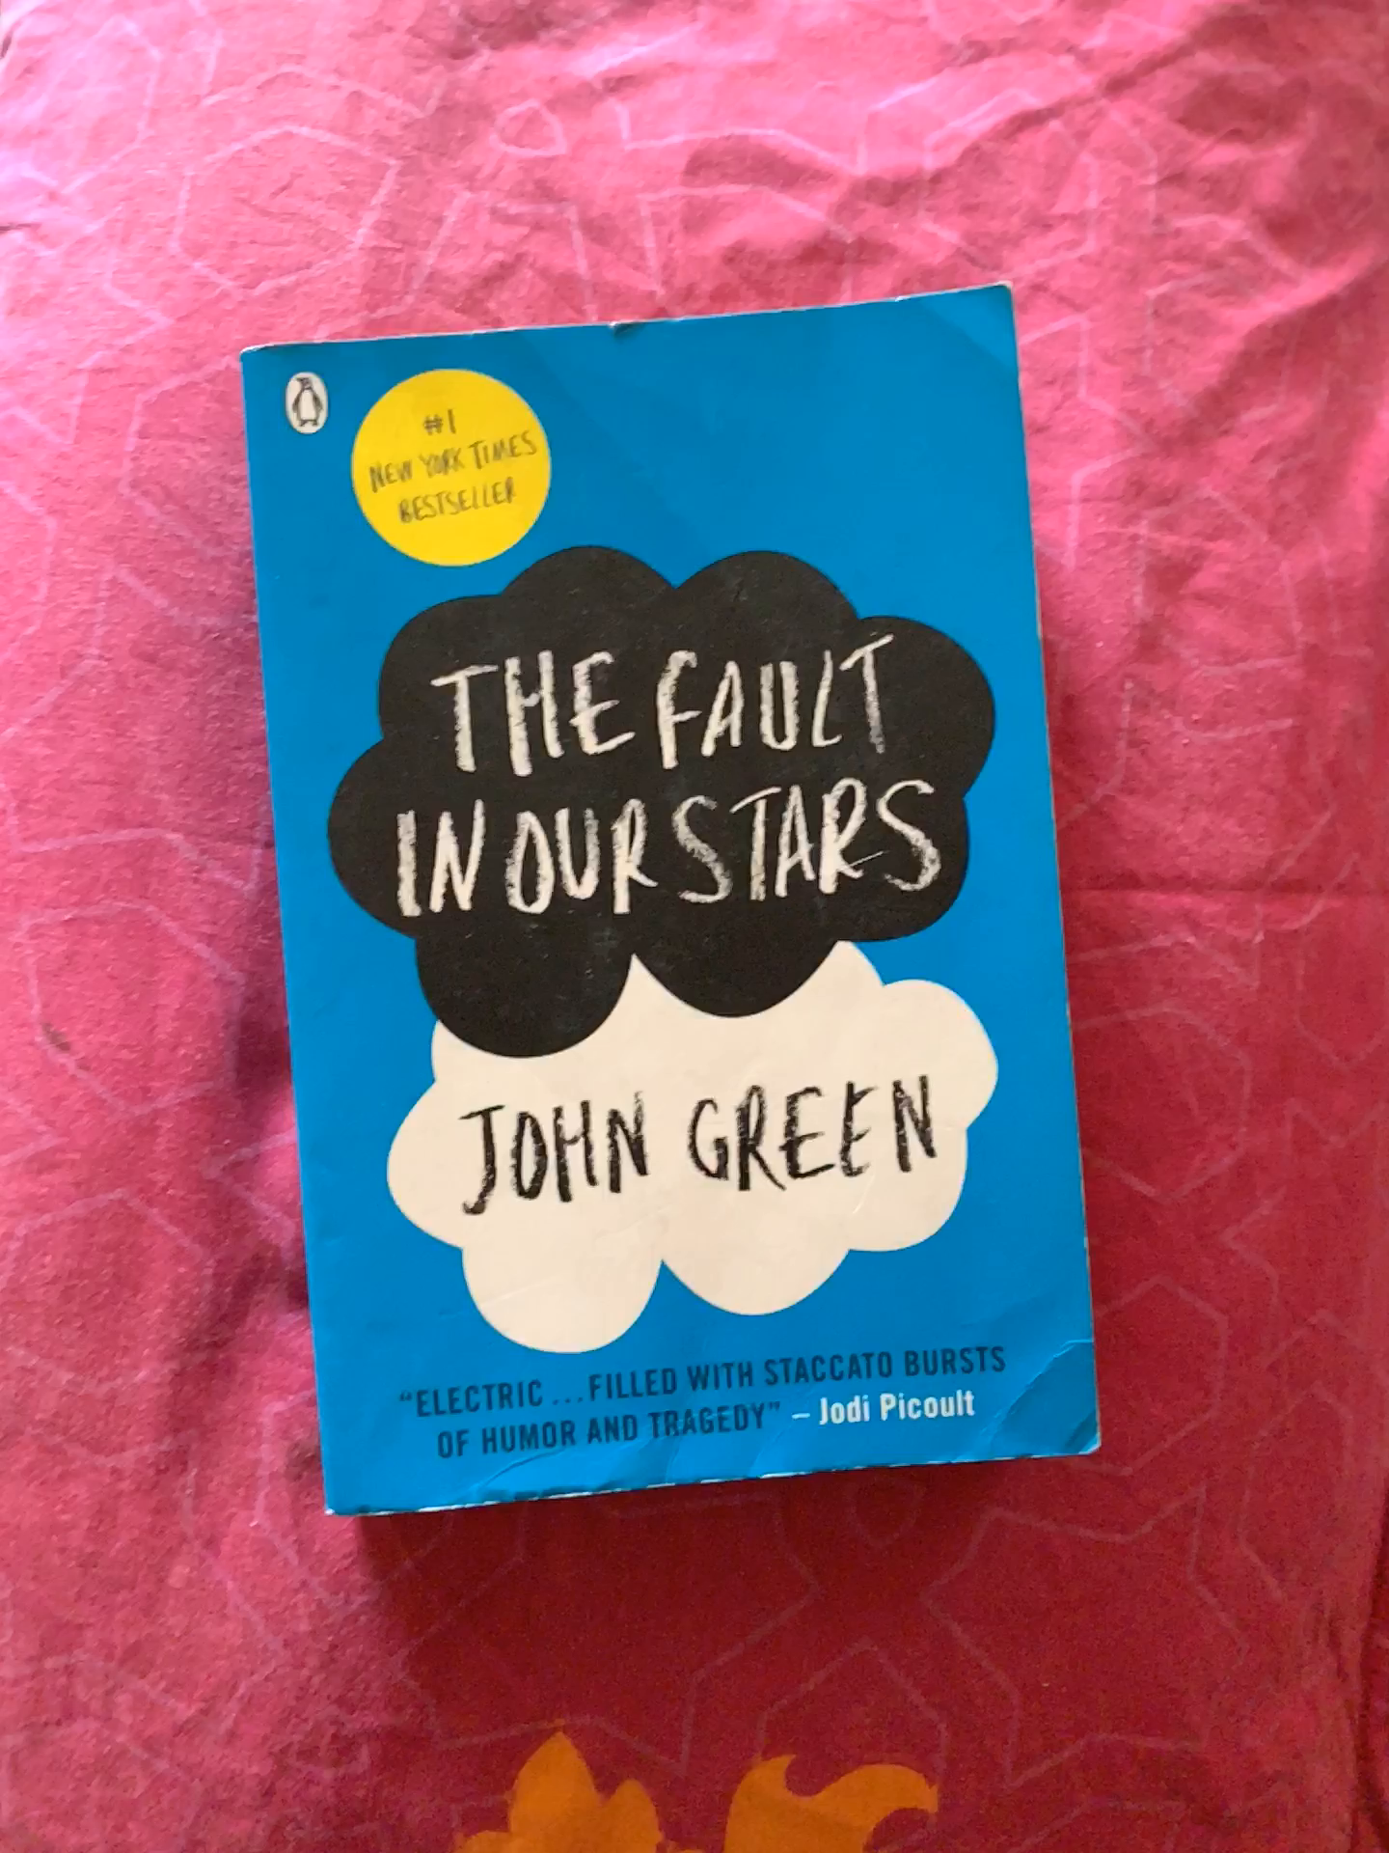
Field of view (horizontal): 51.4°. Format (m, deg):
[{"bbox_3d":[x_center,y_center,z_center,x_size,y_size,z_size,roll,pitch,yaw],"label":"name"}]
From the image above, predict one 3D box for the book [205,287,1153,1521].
[{"bbox_3d":[-0.005,-0.006,0.235,0.130,0.030,0.179,-5,85,-1],"label":"book"}]
